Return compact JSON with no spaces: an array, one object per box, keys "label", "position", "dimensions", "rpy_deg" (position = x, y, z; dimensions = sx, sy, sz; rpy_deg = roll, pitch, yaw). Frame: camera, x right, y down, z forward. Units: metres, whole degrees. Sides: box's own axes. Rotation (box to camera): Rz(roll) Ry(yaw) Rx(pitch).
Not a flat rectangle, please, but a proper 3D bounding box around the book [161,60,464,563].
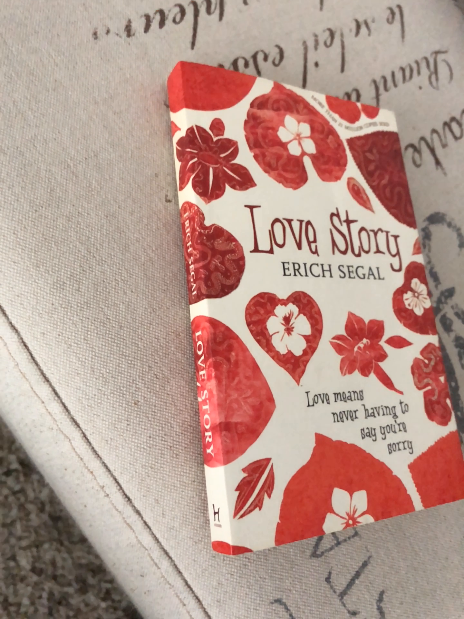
[{"label":"book","position":[0.038,-0.006,0.228],"dimensions":[0.120,0.020,0.188],"rpy_deg":[0,76,-30]}]
